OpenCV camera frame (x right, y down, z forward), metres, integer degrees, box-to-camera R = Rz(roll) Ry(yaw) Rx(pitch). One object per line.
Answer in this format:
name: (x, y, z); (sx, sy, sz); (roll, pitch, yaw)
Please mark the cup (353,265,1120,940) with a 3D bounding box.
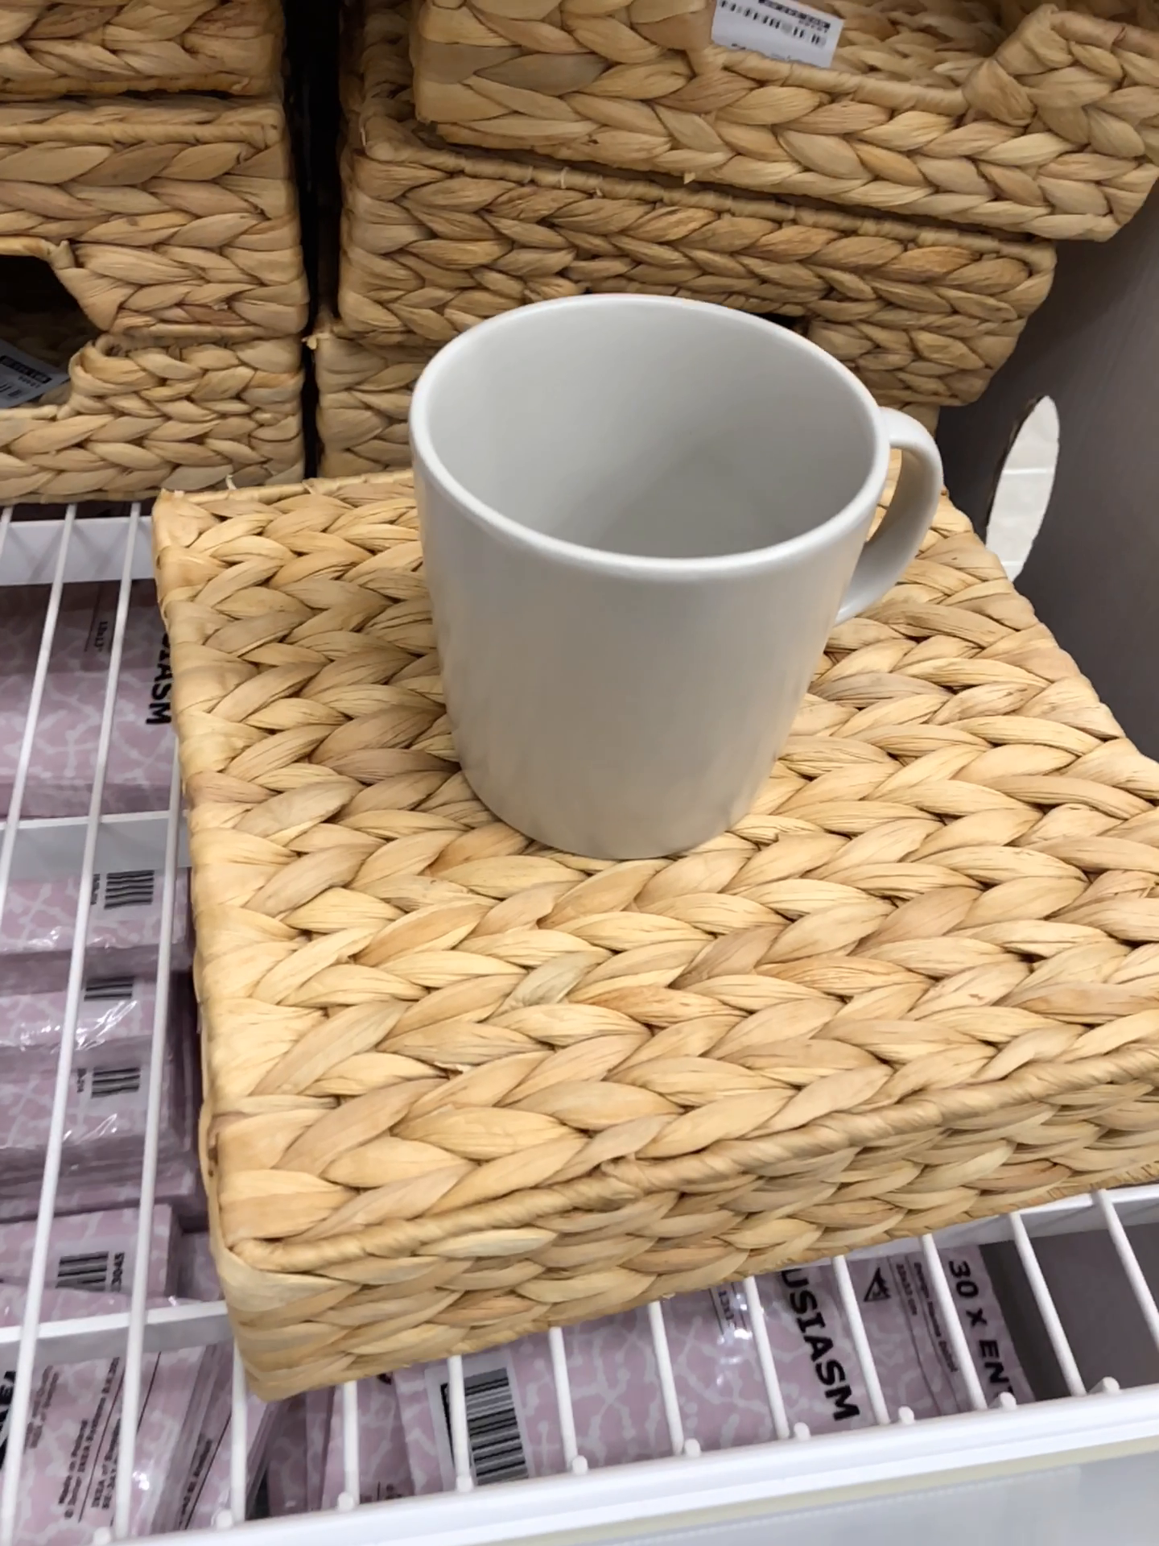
cup: (0.023, -0.039, 0.275); (0.120, 0.090, 0.090); (-11, 48, -13)
